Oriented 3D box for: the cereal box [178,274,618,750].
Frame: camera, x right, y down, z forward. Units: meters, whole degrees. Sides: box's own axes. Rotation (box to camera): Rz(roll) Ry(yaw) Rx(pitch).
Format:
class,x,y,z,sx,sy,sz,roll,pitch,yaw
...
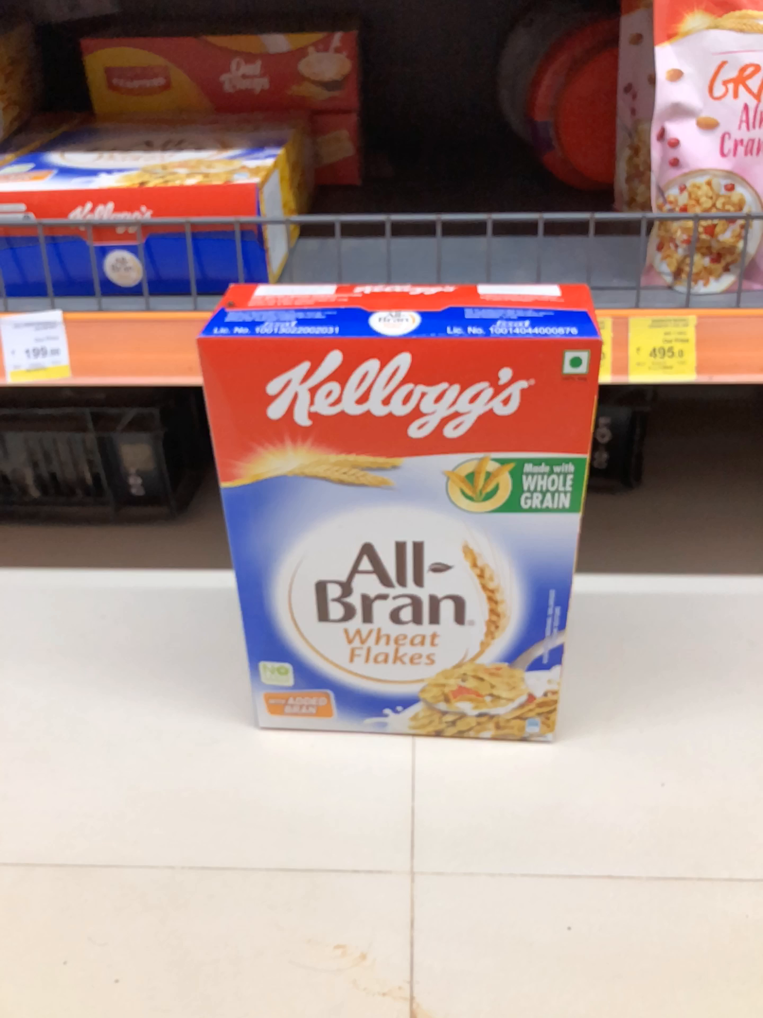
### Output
class,x,y,z,sx,sy,sz,roll,pitch,yaw
cereal box,0.012,0.011,0.472,0.190,0.258,0.081,1,34,5
